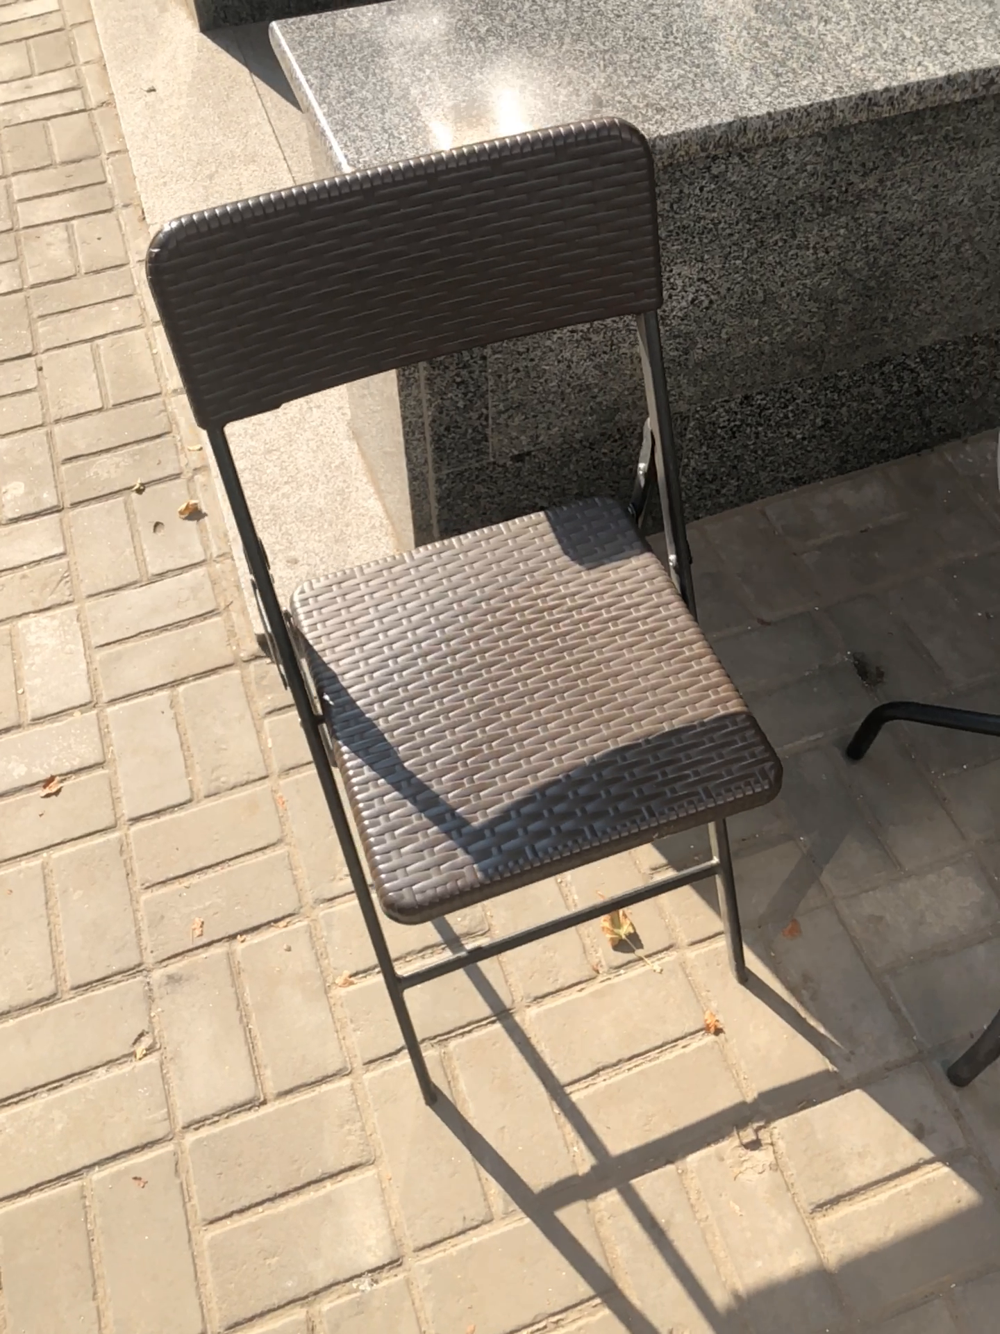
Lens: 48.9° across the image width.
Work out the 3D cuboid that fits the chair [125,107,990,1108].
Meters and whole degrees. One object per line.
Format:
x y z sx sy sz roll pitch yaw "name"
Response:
0.006 0.007 1.052 0.430 0.778 0.481 -17 56 -12 "chair"
